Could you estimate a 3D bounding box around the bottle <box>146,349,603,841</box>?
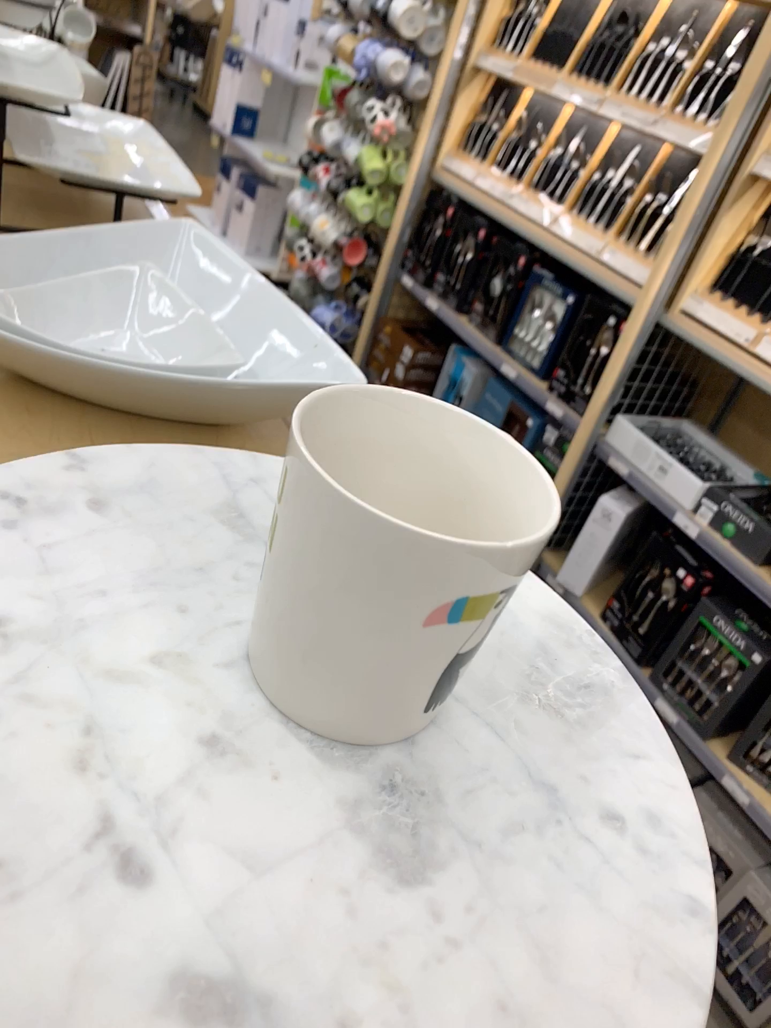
[{"bbox_3d":[0.001,0.019,0.317,0.104,0.107,0.144,28,31,14],"label":"bottle"}]
